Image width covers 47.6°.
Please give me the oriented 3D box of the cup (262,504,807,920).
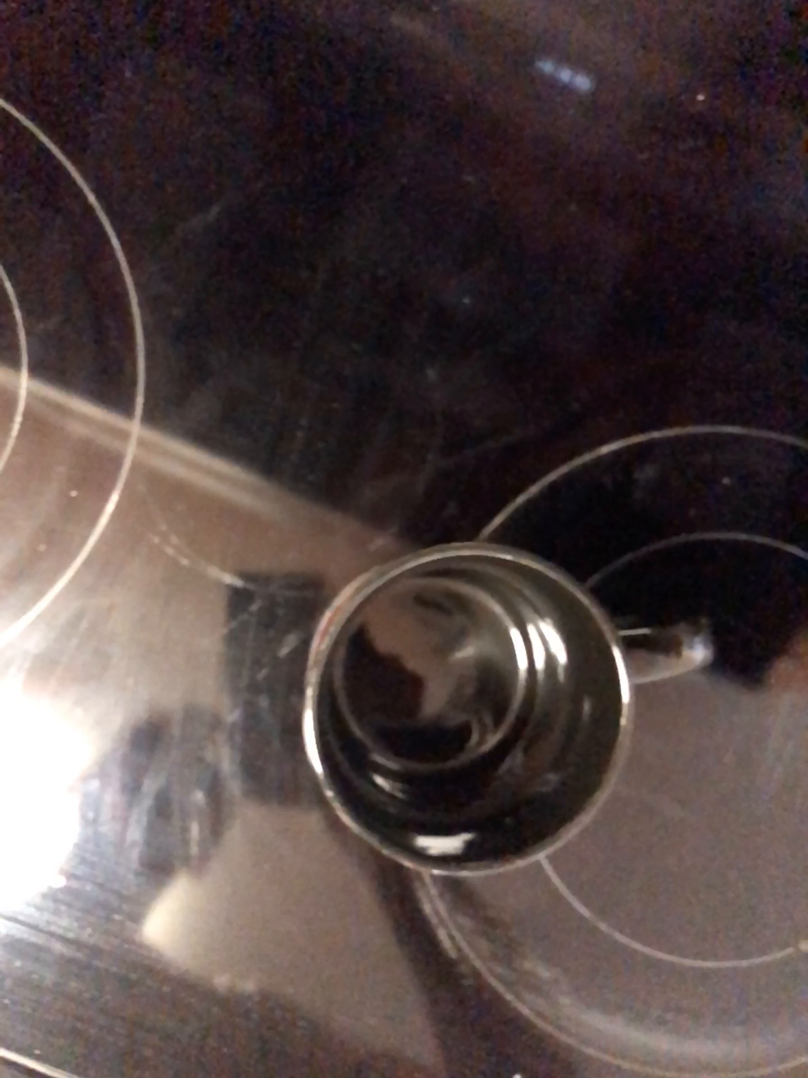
[{"bbox_3d":[0.029,0.042,0.266,0.130,0.090,0.090,-3,87,-6],"label":"cup"}]
